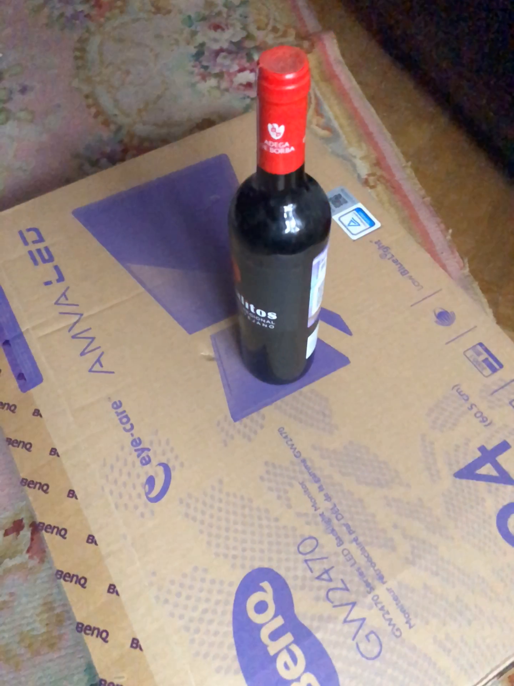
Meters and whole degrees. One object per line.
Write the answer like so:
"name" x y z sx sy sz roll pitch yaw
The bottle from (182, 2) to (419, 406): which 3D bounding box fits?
"bottle" 0.020 -0.069 0.425 0.090 0.299 0.090 0 60 0
